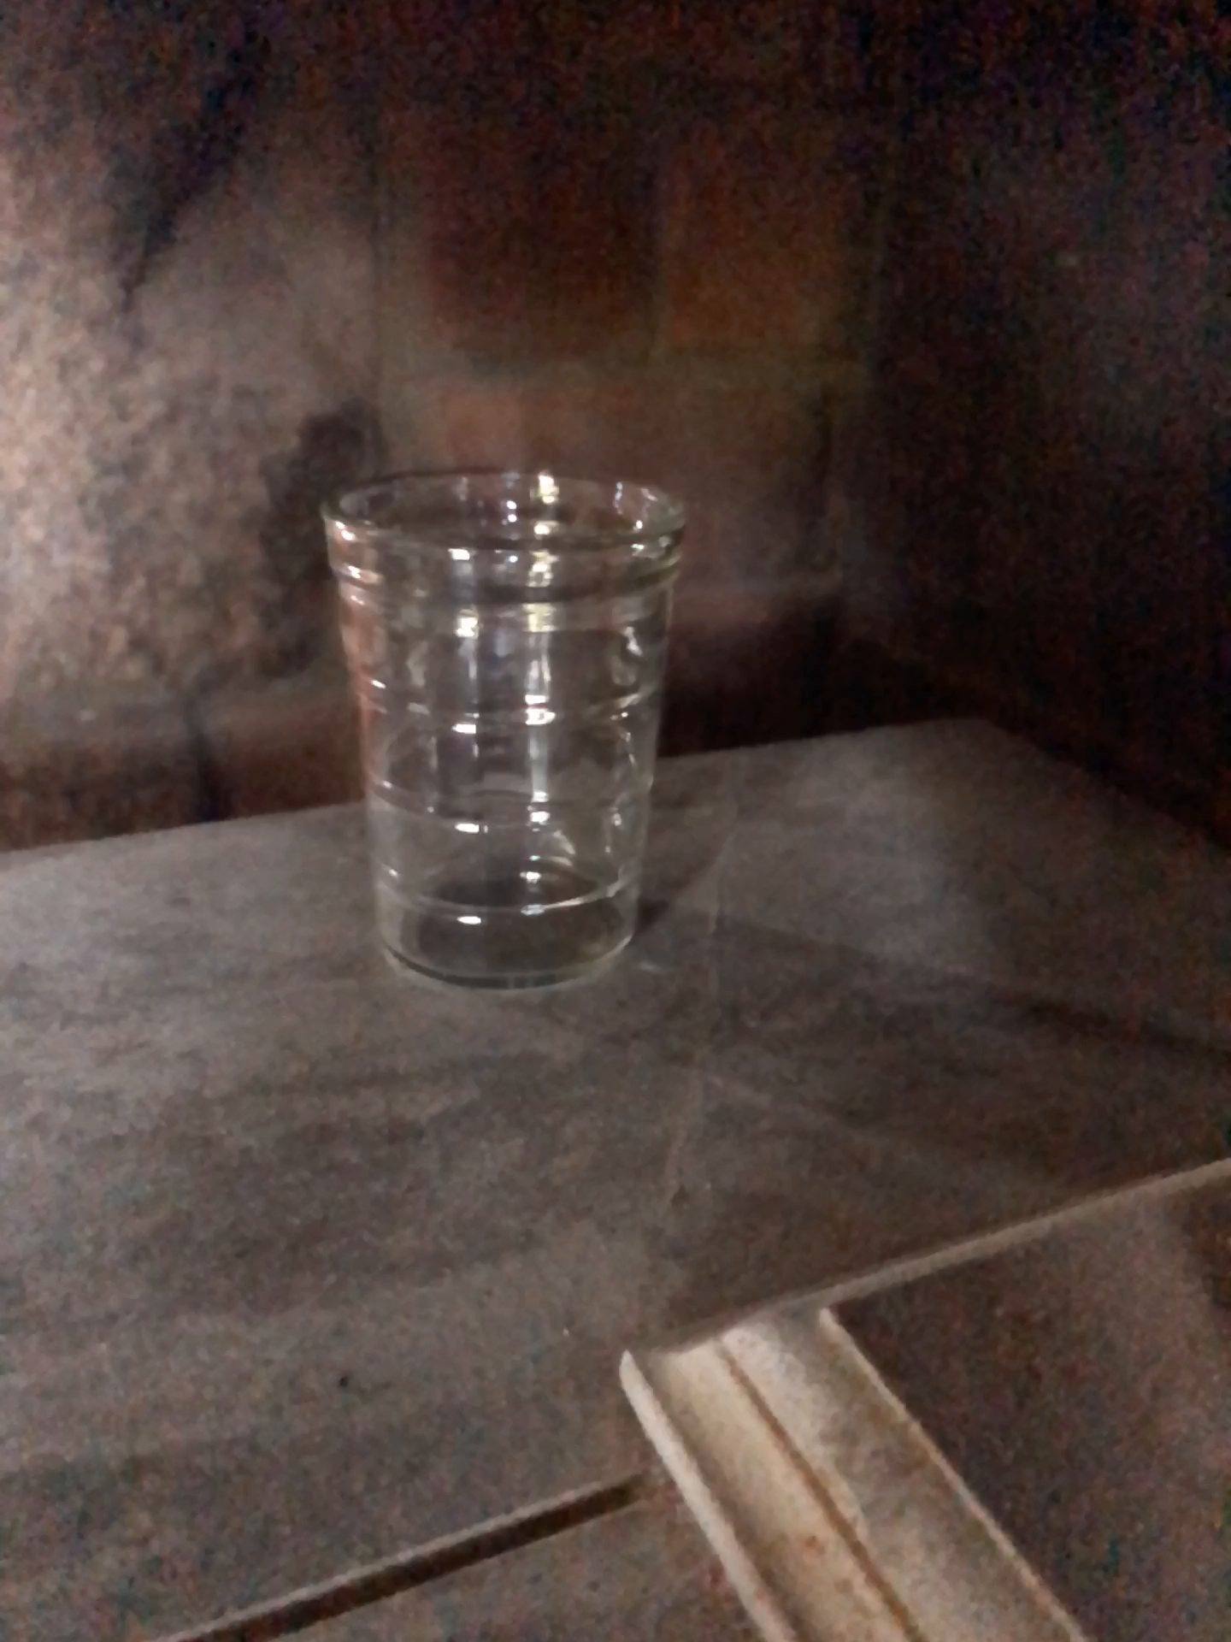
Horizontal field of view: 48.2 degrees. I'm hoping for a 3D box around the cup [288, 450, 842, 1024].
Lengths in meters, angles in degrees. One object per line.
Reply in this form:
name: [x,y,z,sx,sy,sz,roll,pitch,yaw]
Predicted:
cup: [-0.009,-0.022,0.261,0.070,0.080,0.070,1,23,0]
